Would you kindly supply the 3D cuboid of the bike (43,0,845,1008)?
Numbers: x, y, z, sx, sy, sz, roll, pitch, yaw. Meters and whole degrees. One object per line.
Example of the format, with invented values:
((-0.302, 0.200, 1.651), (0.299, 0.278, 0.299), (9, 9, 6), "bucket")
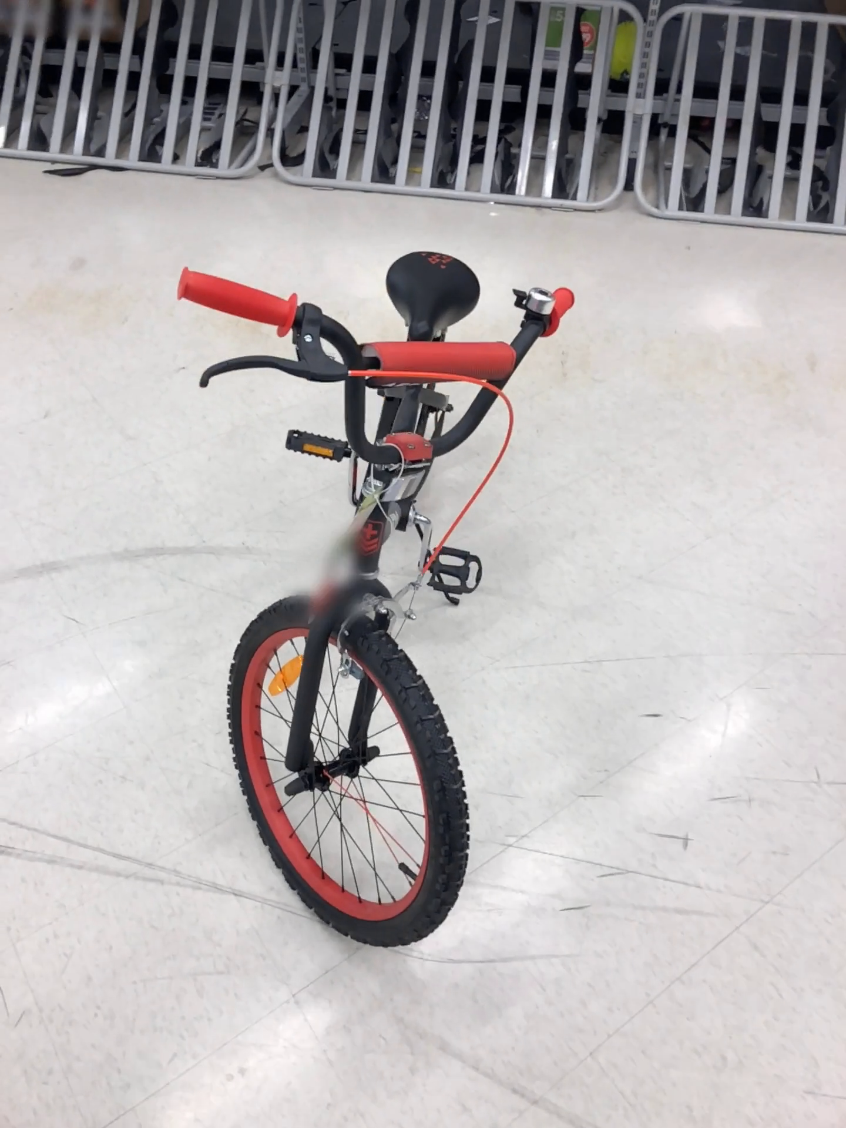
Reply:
((0.042, -0.182, 1.381), (0.624, 0.924, 1.254), (1, 47, 0), "bike")
